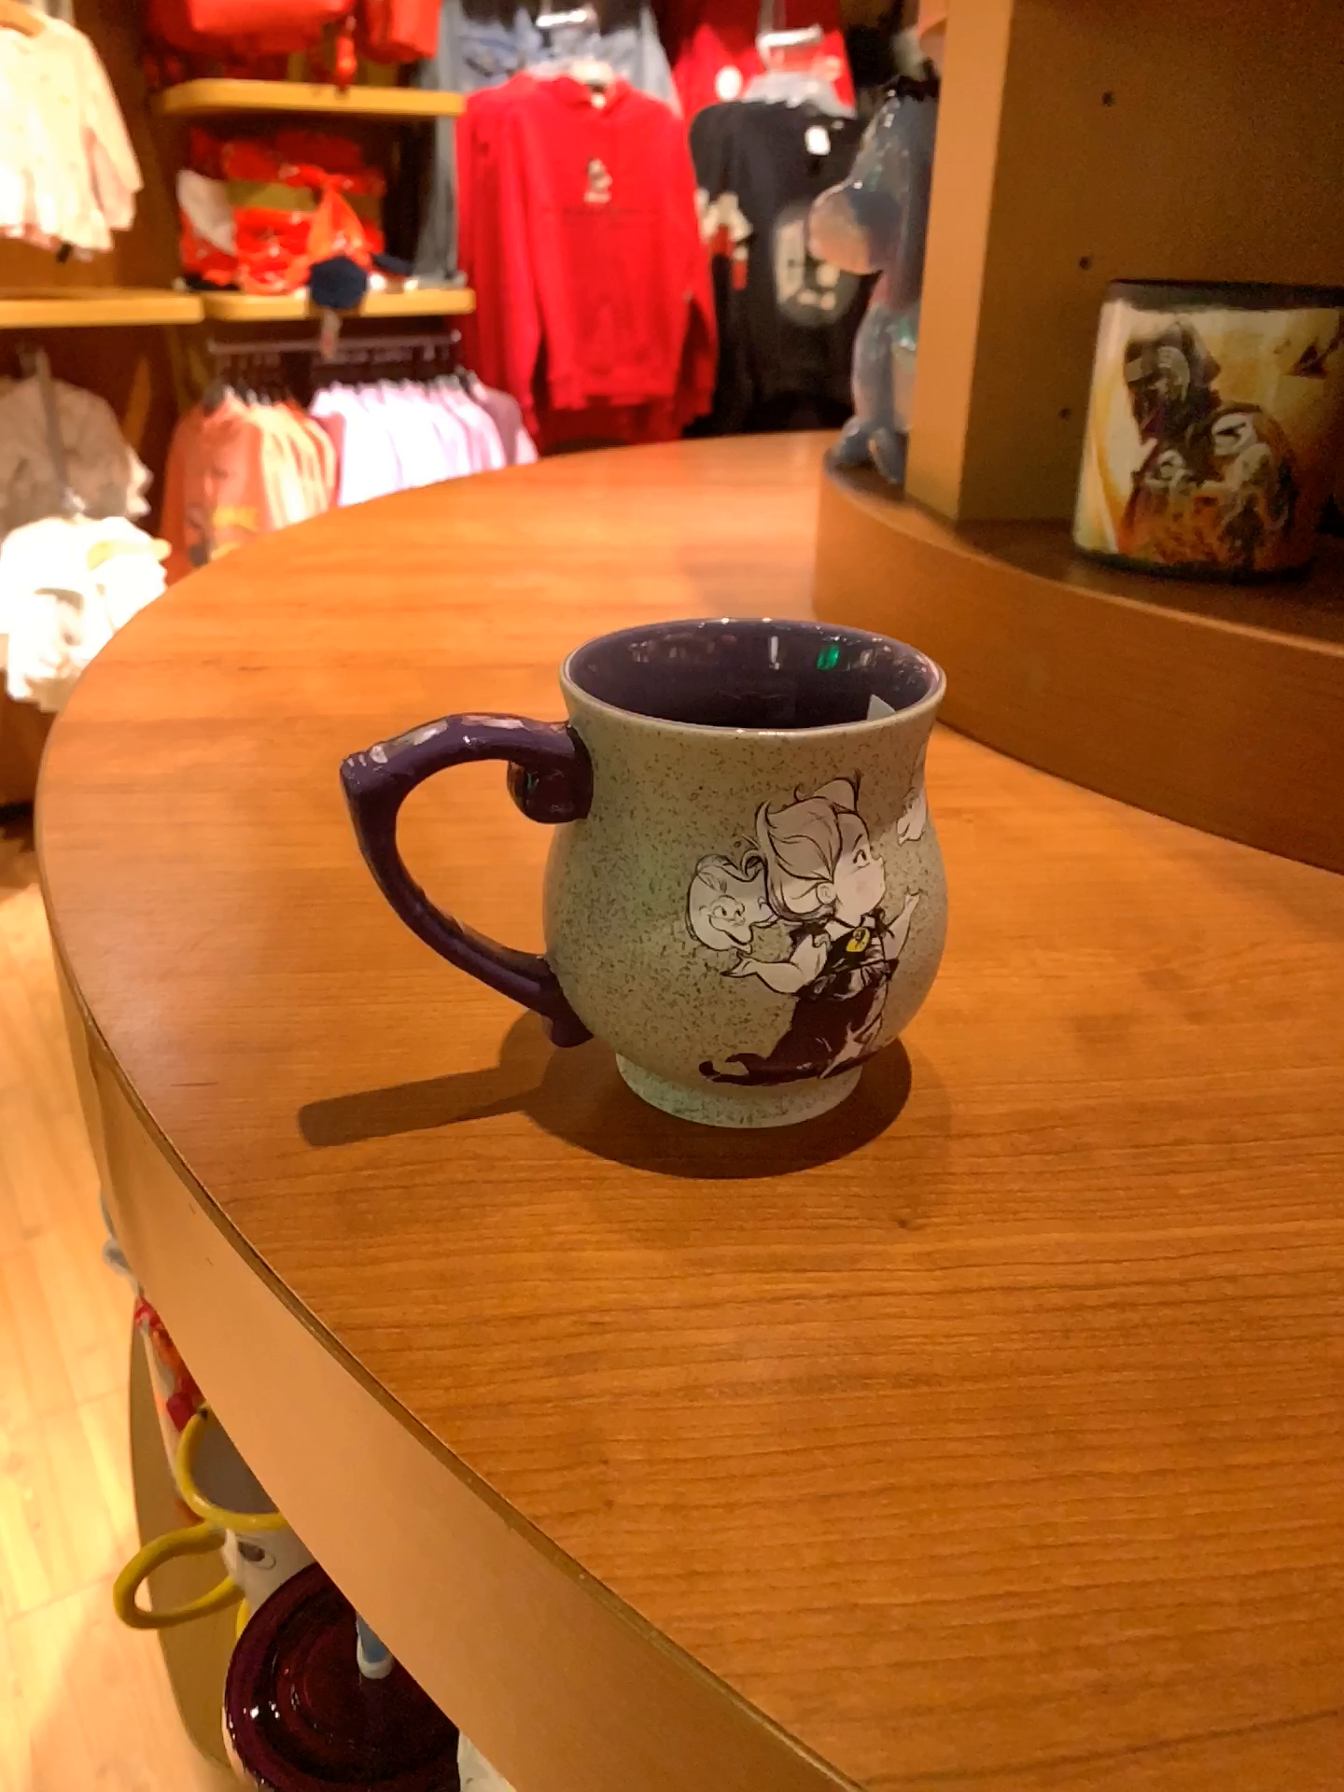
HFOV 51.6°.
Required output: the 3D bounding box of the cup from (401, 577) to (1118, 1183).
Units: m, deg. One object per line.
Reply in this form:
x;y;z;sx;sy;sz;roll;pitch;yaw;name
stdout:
0.011;-0.014;0.346;0.140;0.099;0.115;-5;27;-13;cup
